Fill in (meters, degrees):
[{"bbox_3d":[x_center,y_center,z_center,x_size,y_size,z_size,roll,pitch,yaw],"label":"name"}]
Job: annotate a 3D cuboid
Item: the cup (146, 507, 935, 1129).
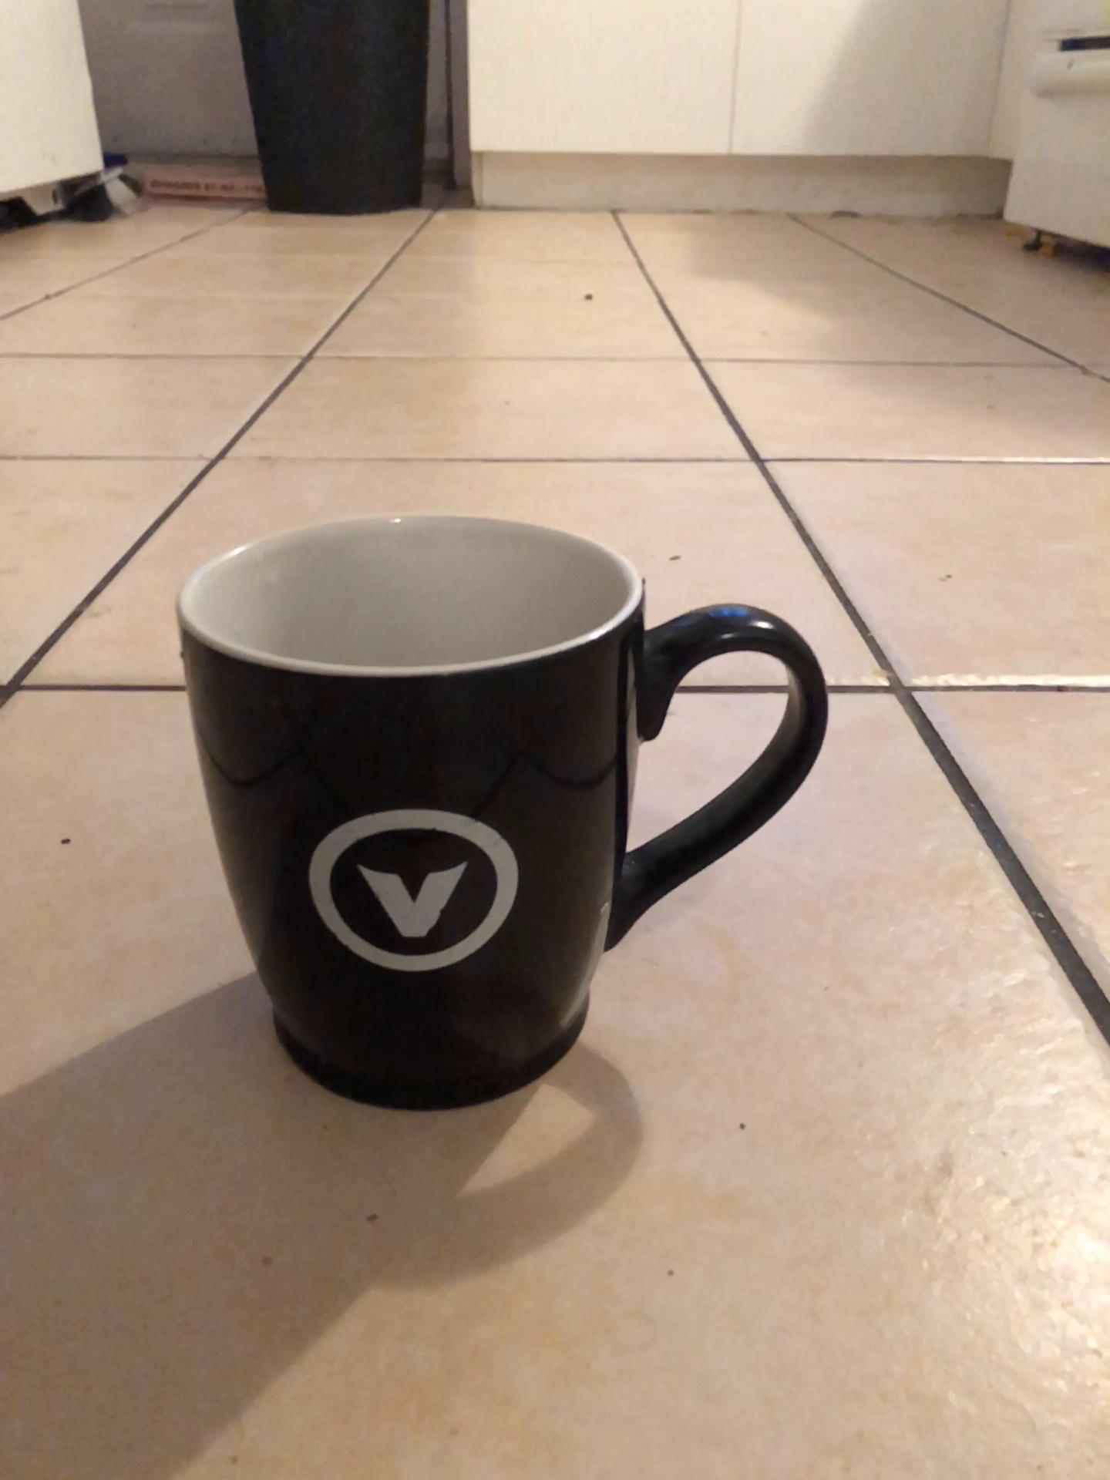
[{"bbox_3d":[-0.006,0.011,0.283,0.140,0.100,0.101,-2,27,-5],"label":"cup"}]
